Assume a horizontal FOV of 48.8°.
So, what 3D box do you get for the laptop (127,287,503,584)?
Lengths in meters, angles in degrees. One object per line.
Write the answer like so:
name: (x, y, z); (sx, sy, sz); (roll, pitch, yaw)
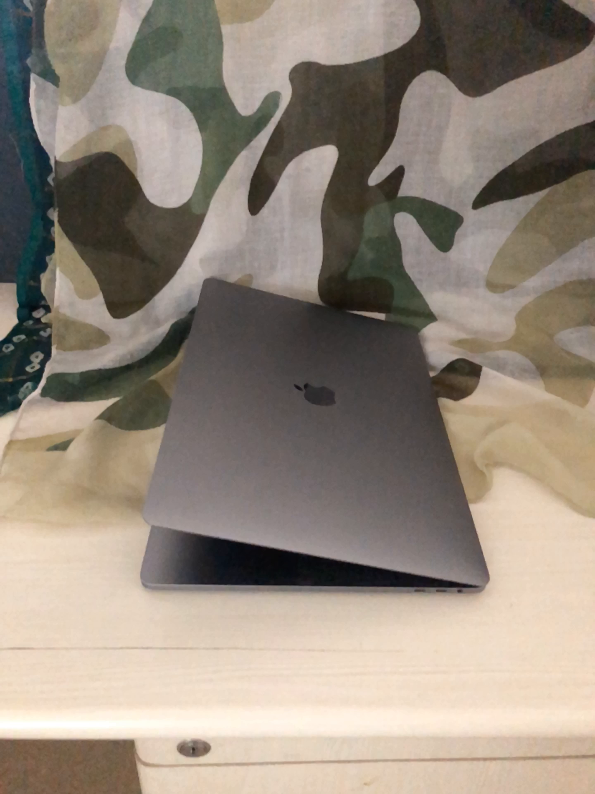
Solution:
laptop: (0.013, 0.005, 0.568); (0.236, 0.058, 0.340); (1, 34, 0)
